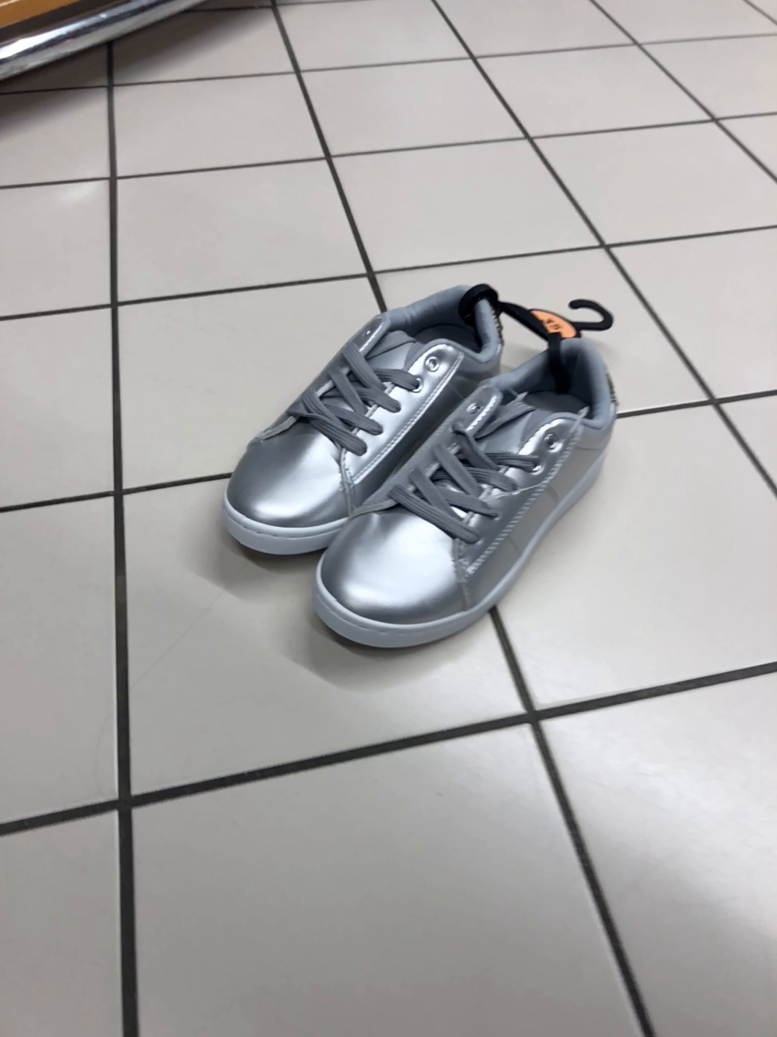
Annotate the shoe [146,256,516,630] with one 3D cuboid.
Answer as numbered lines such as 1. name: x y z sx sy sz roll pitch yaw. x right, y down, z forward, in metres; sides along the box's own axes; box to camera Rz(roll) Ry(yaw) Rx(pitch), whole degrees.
1. shoe: -0.024 -0.057 0.528 0.090 0.090 0.231 29 54 22

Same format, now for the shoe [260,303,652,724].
1. shoe: 0.045 -0.014 0.482 0.090 0.090 0.231 30 55 23
